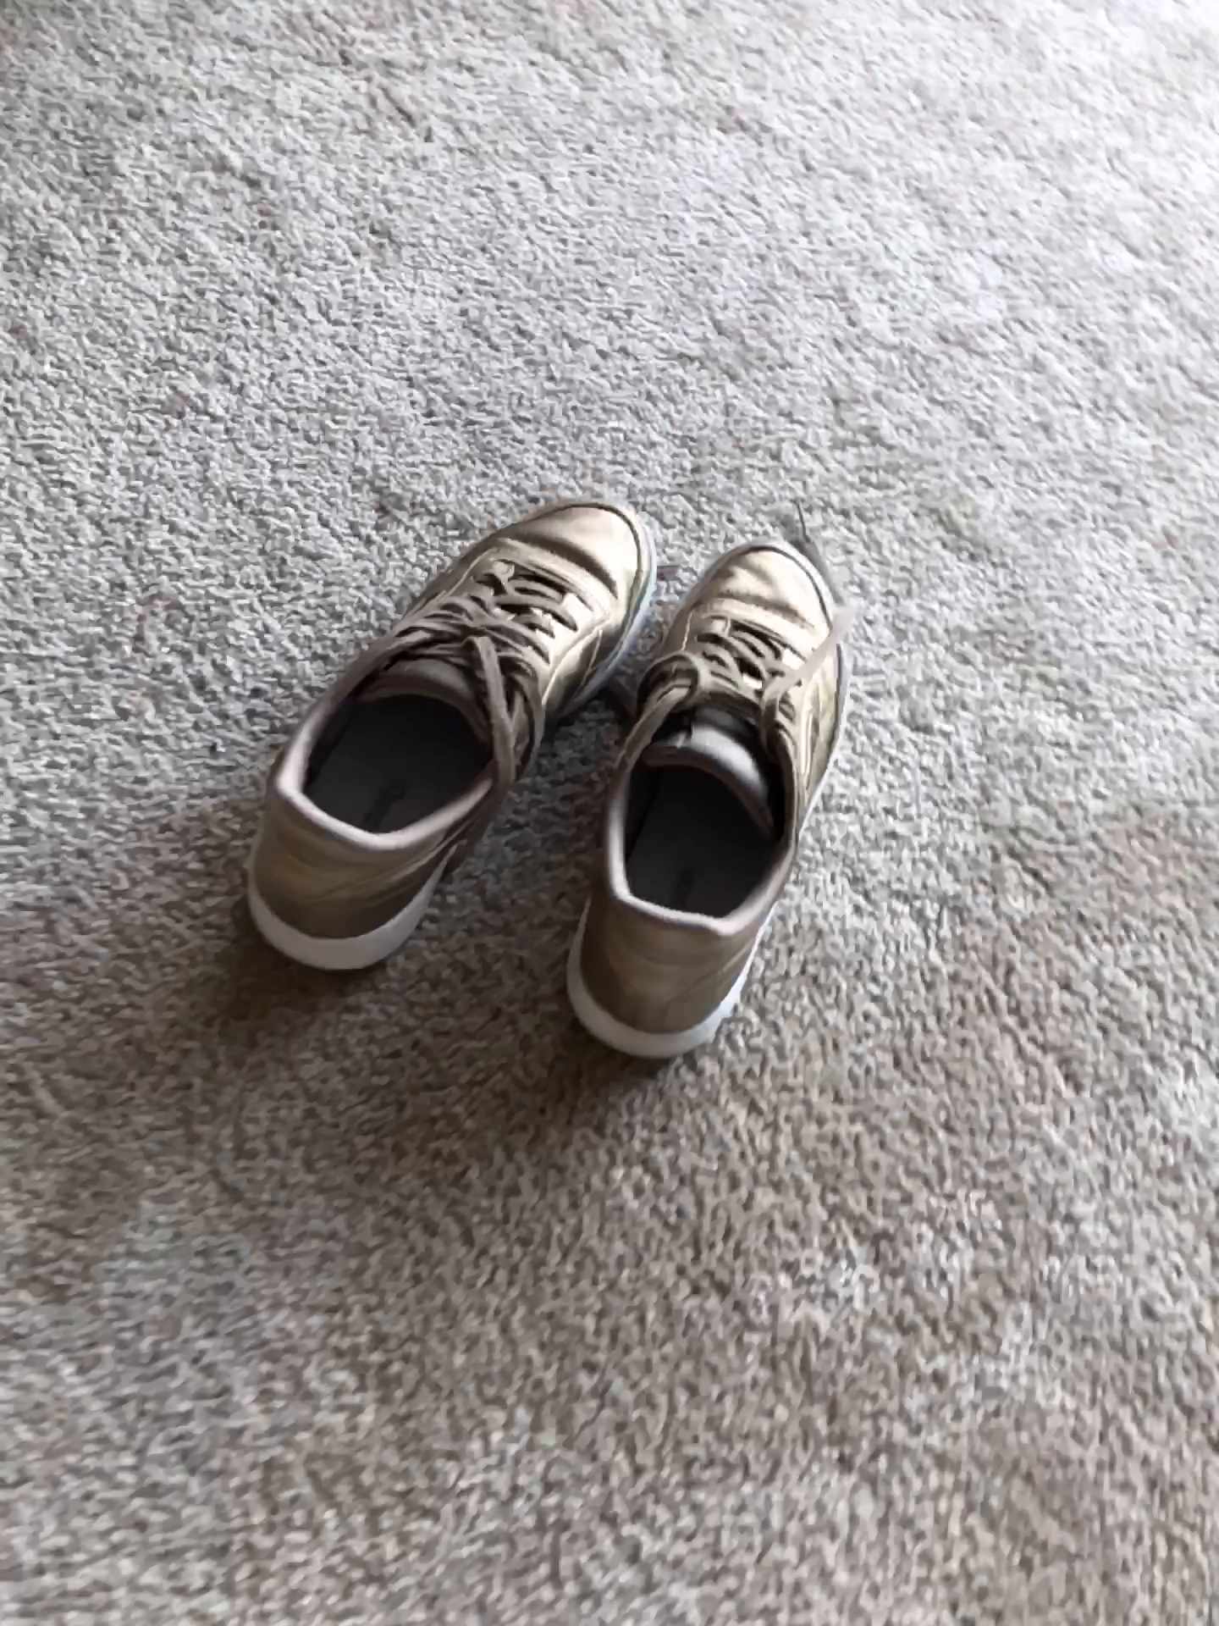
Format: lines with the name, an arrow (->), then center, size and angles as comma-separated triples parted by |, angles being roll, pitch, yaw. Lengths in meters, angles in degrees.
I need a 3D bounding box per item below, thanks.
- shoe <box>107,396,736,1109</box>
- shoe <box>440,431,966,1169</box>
shoe -> -0.063, -0.036, 0.545 | 0.110, 0.070, 0.281 | 28, 61, 5
shoe -> 0.045, -0.017, 0.538 | 0.110, 0.070, 0.281 | 24, 60, 3
